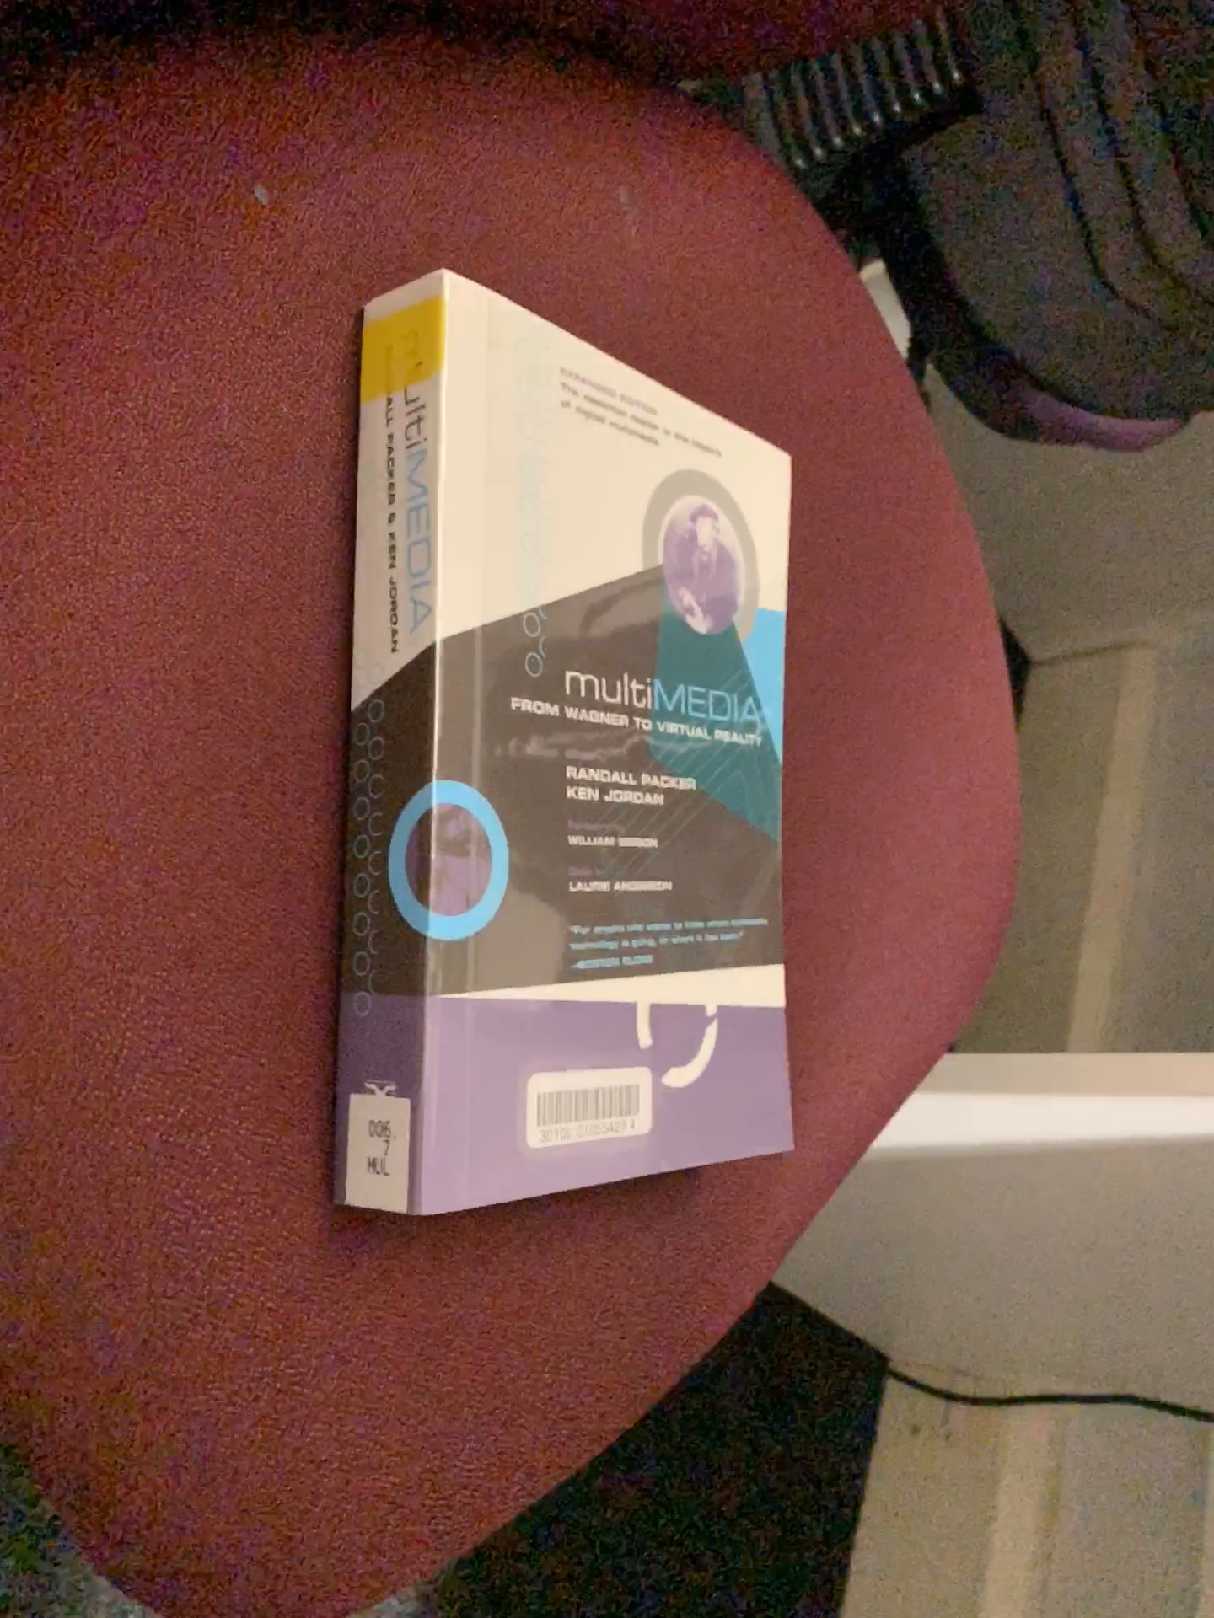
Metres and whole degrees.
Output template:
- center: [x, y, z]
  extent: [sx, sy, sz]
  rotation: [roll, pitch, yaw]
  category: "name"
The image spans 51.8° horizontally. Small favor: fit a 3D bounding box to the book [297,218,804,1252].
- center: [-0.007, -0.015, 0.367]
  extent: [0.161, 0.040, 0.248]
  rotation: [8, 78, -47]
  category: "book"
